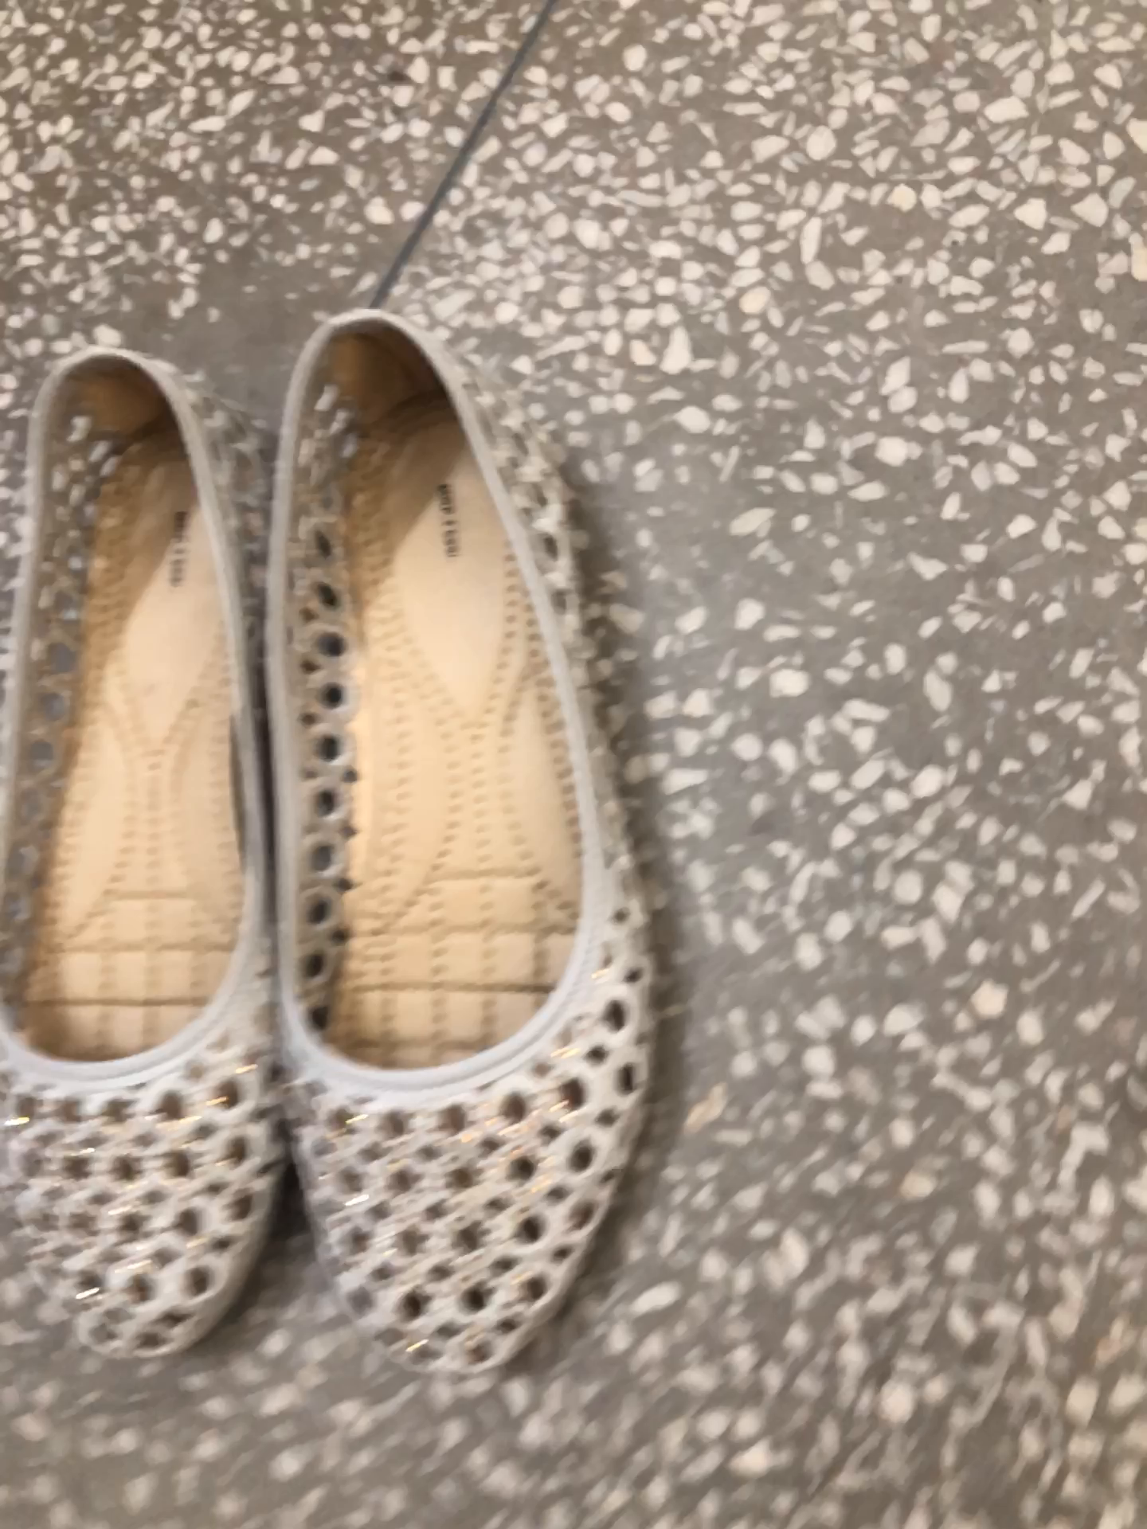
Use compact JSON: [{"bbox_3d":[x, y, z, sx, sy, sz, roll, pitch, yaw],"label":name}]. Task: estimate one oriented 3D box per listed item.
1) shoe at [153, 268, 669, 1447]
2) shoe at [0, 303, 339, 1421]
[{"bbox_3d":[-0.036,0.018,0.302,0.093,0.070,0.240,-5,78,11],"label":"shoe"},{"bbox_3d":[-0.116,0.021,0.316,0.093,0.070,0.240,-5,78,11],"label":"shoe"}]
